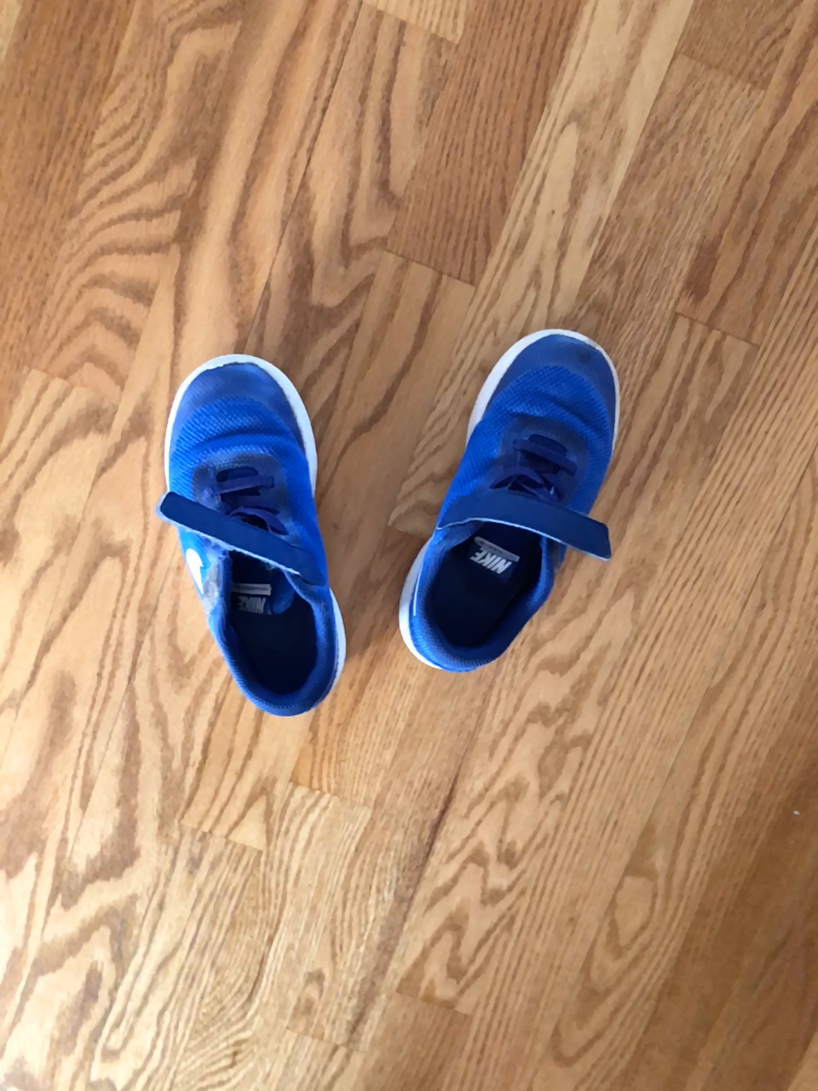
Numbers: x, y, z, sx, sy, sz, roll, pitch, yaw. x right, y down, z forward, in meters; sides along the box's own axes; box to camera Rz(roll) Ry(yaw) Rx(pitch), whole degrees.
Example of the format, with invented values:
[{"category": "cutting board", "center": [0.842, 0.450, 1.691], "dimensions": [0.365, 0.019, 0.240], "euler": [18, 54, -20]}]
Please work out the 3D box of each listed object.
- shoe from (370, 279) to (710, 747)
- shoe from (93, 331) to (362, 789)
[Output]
[{"category": "shoe", "center": [0.061, -0.018, 0.491], "dimensions": [0.093, 0.092, 0.214], "euler": [21, 98, -6]}, {"category": "shoe", "center": [-0.087, 0.004, 0.482], "dimensions": [0.093, 0.092, 0.214], "euler": [-9, 100, -1]}]
